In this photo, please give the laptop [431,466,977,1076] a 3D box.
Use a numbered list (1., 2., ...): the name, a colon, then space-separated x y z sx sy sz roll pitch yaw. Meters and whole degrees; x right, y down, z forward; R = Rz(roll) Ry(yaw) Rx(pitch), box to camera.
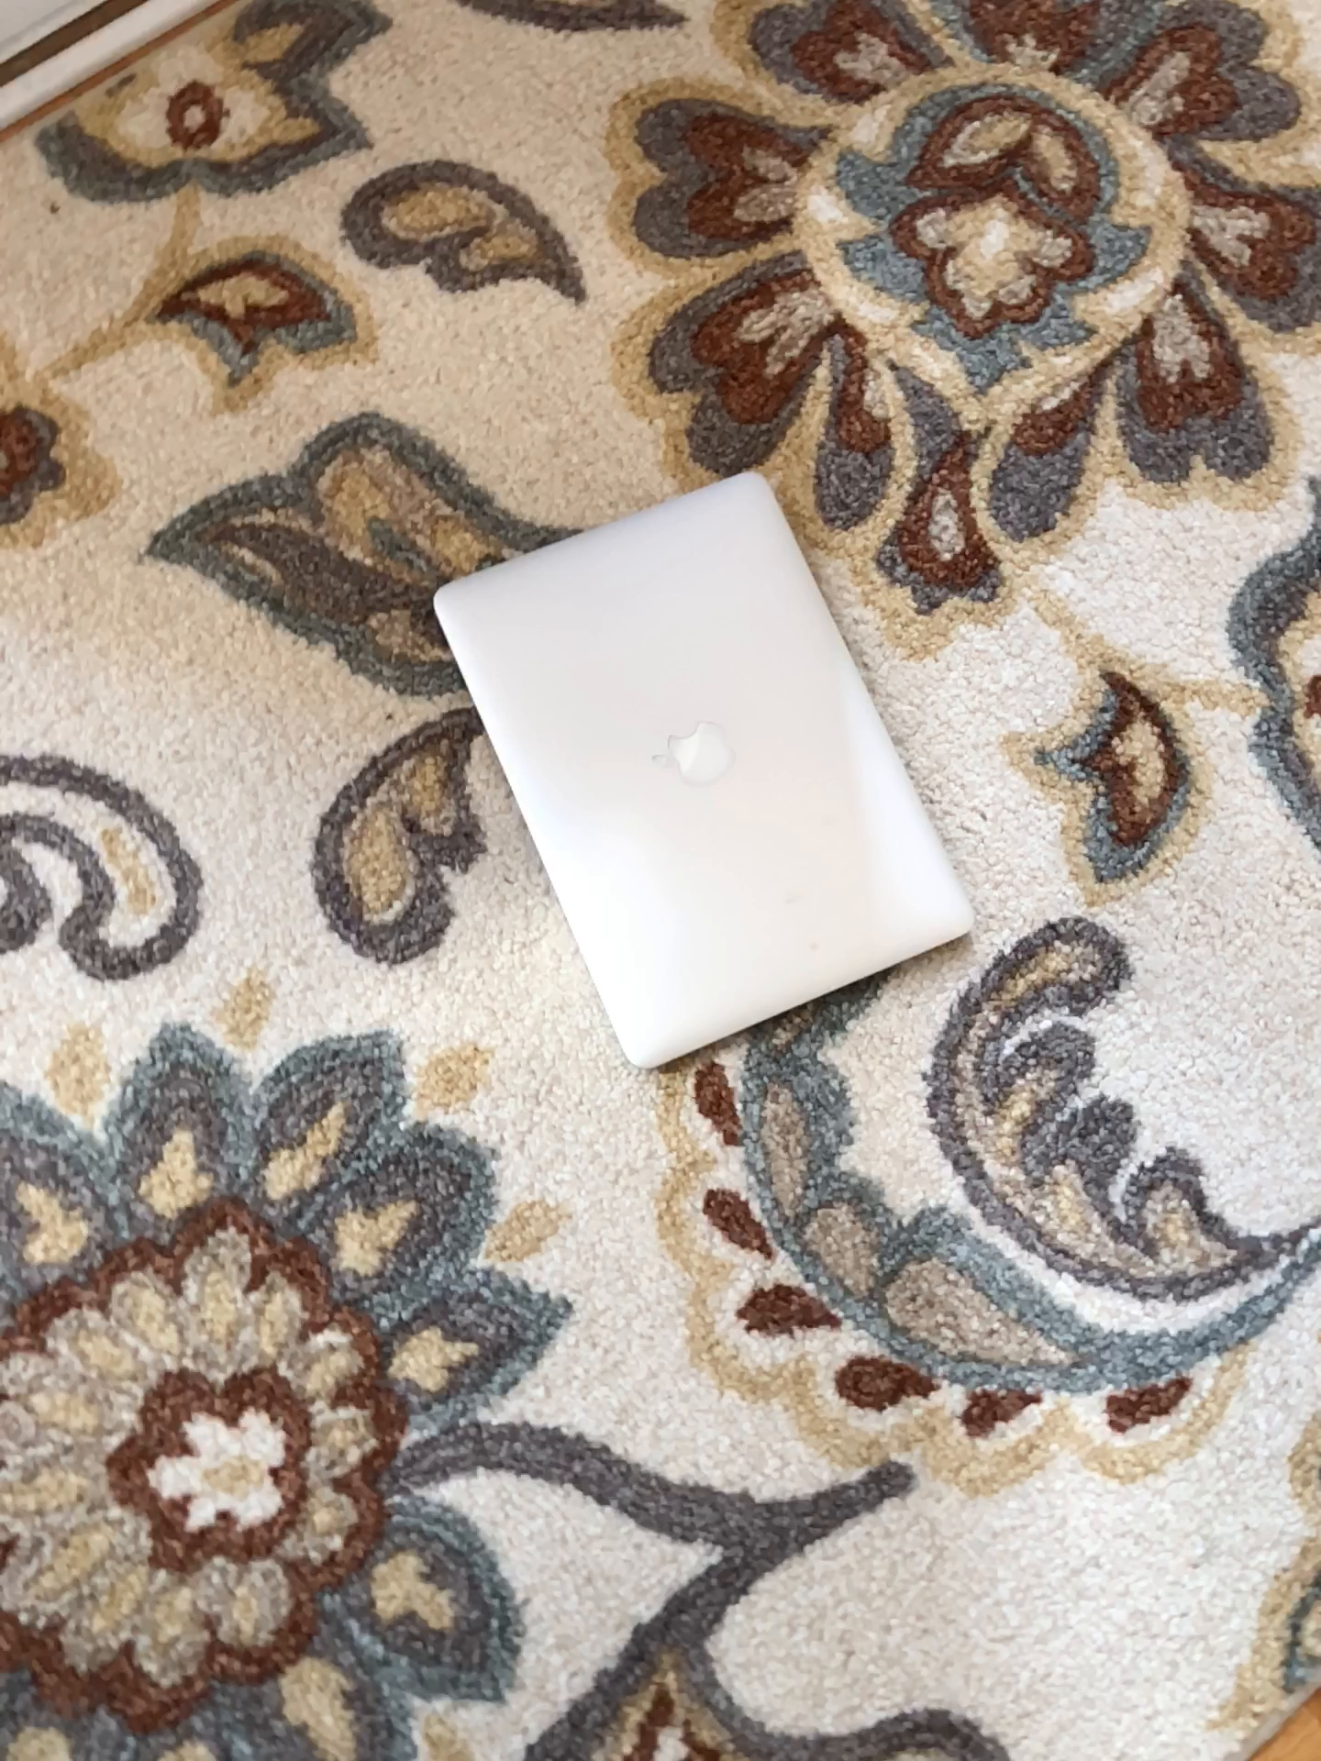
1. laptop: 0.023 -0.069 0.812 0.207 0.001 0.295 -22 81 -8
